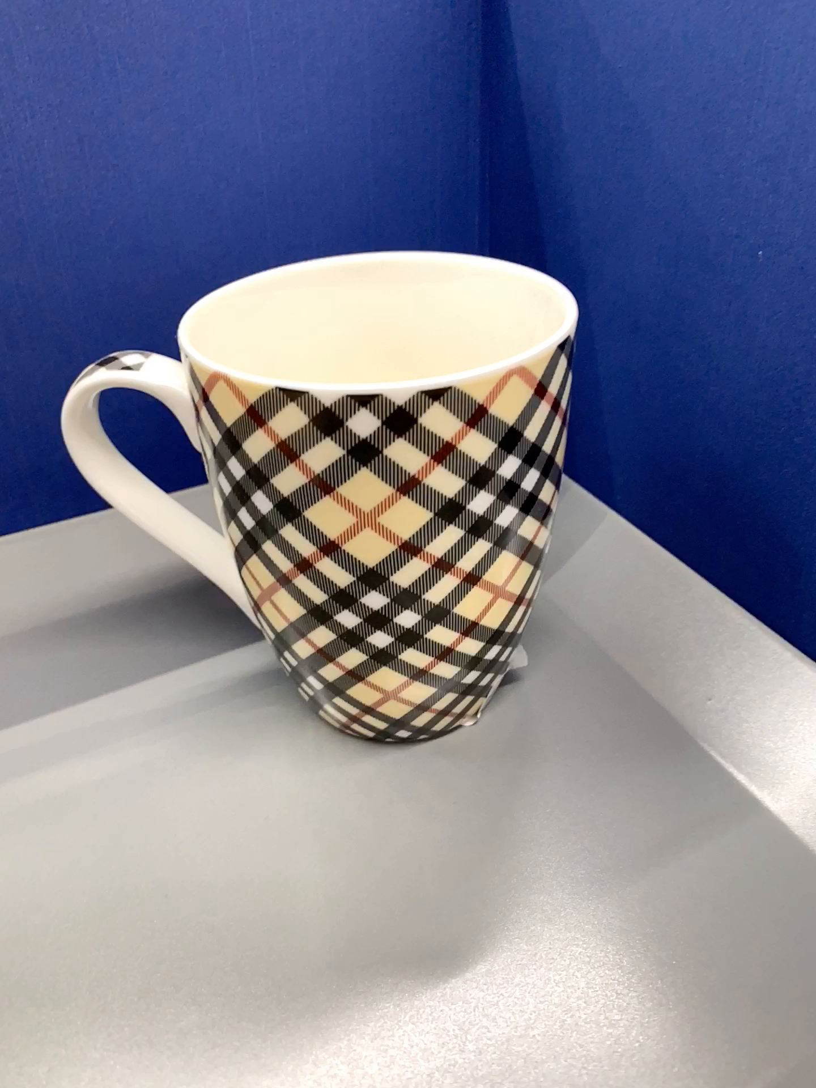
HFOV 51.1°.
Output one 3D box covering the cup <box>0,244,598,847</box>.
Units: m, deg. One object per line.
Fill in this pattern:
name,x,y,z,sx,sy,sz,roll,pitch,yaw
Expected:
cup,-0.021,-0.007,0.207,0.120,0.104,0.091,5,32,11
